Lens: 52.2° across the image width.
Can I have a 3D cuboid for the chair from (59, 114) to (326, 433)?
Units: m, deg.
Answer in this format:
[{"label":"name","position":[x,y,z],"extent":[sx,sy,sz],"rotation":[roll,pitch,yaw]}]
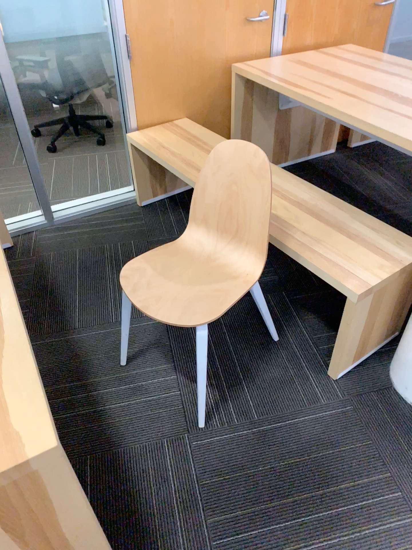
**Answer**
[{"label":"chair","position":[-0.023,-0.021,1.531],"extent":[0.542,0.835,0.601],"rotation":[29,49,32]}]
